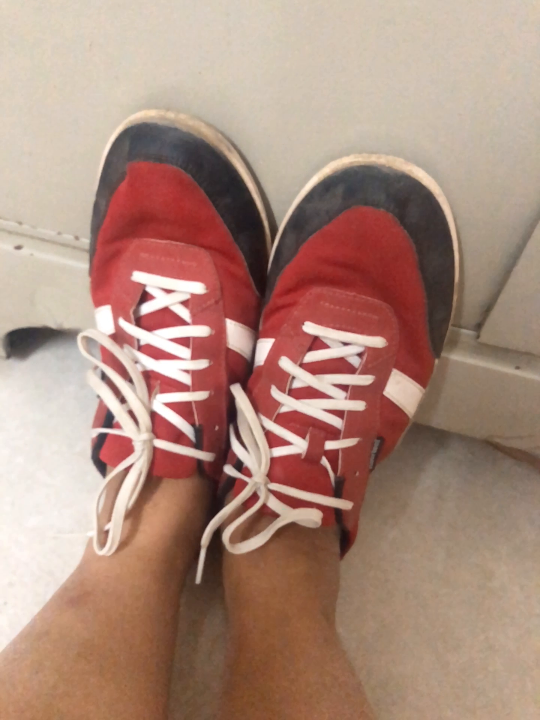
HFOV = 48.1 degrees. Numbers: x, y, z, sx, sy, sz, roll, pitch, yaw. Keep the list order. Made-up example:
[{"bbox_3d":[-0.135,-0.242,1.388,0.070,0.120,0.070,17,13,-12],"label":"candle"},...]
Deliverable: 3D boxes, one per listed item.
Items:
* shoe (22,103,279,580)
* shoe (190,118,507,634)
[{"bbox_3d":[-0.053,-0.006,0.315,0.100,0.229,0.080,2,21,-3],"label":"shoe"},{"bbox_3d":[0.031,0.011,0.328,0.100,0.249,0.080,12,21,5],"label":"shoe"}]
